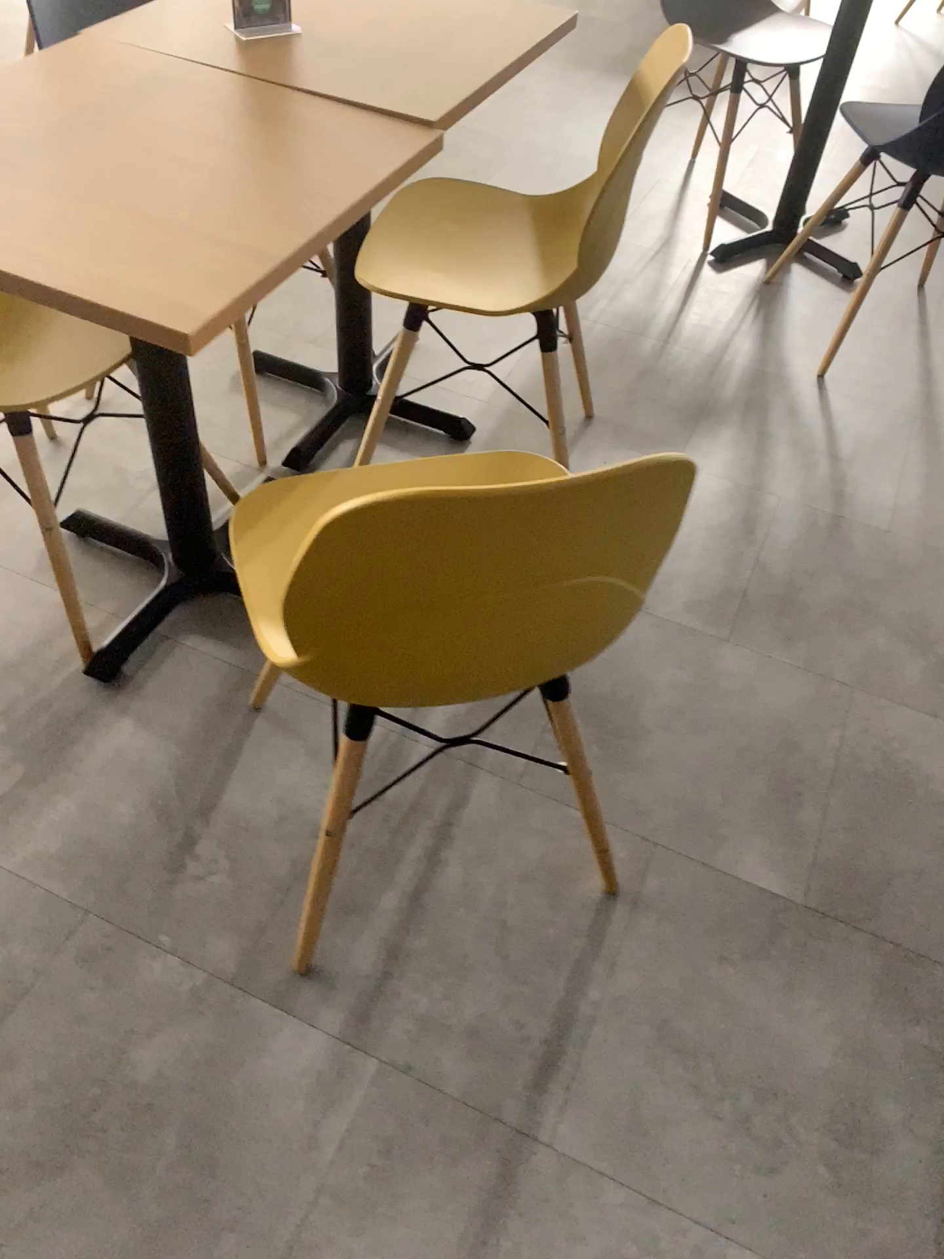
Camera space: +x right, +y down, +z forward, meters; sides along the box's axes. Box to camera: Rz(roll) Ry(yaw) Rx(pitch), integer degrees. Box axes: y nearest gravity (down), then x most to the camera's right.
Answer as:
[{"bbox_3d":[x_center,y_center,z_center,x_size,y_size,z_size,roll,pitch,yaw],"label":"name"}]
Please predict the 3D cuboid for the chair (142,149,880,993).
[{"bbox_3d":[-0.032,-0.042,1.133,0.517,0.781,0.523,-10,50,-14],"label":"chair"}]

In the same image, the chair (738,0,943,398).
[{"bbox_3d":[1.030,-1.008,2.123,0.516,0.781,0.533,-4,48,-9],"label":"chair"}]

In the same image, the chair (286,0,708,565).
[{"bbox_3d":[0.034,-0.605,1.655,0.528,0.781,0.521,8,48,2],"label":"chair"}]
